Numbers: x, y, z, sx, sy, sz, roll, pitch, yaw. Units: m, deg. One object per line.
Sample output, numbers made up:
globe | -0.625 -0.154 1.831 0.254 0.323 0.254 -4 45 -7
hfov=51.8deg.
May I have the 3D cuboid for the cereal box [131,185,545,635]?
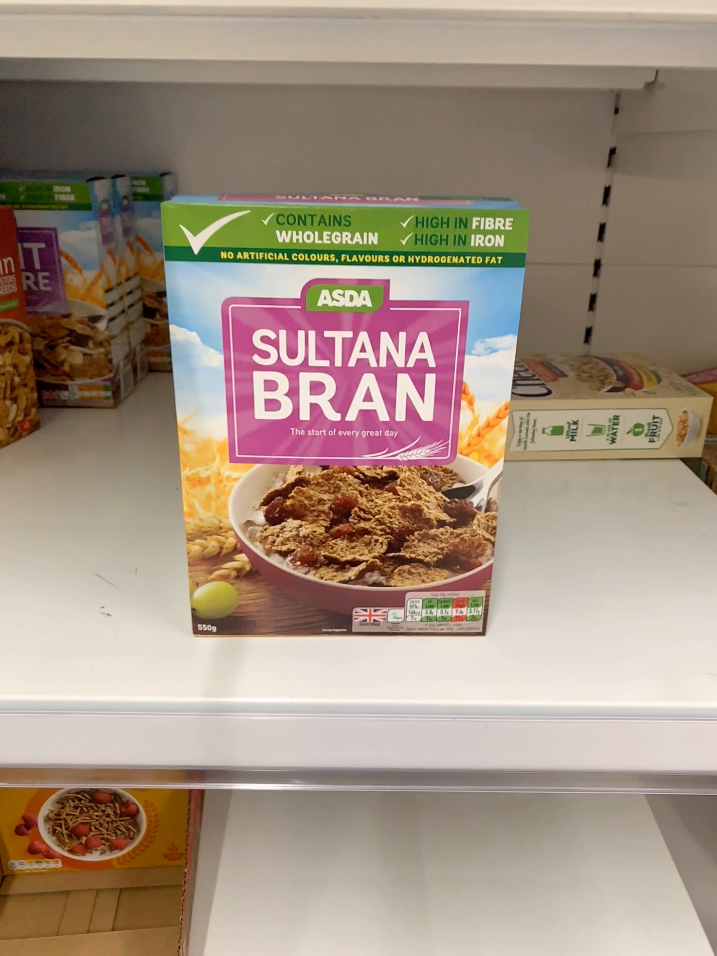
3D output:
cereal box | -0.012 -0.035 0.461 0.210 0.268 0.071 0 23 -1
